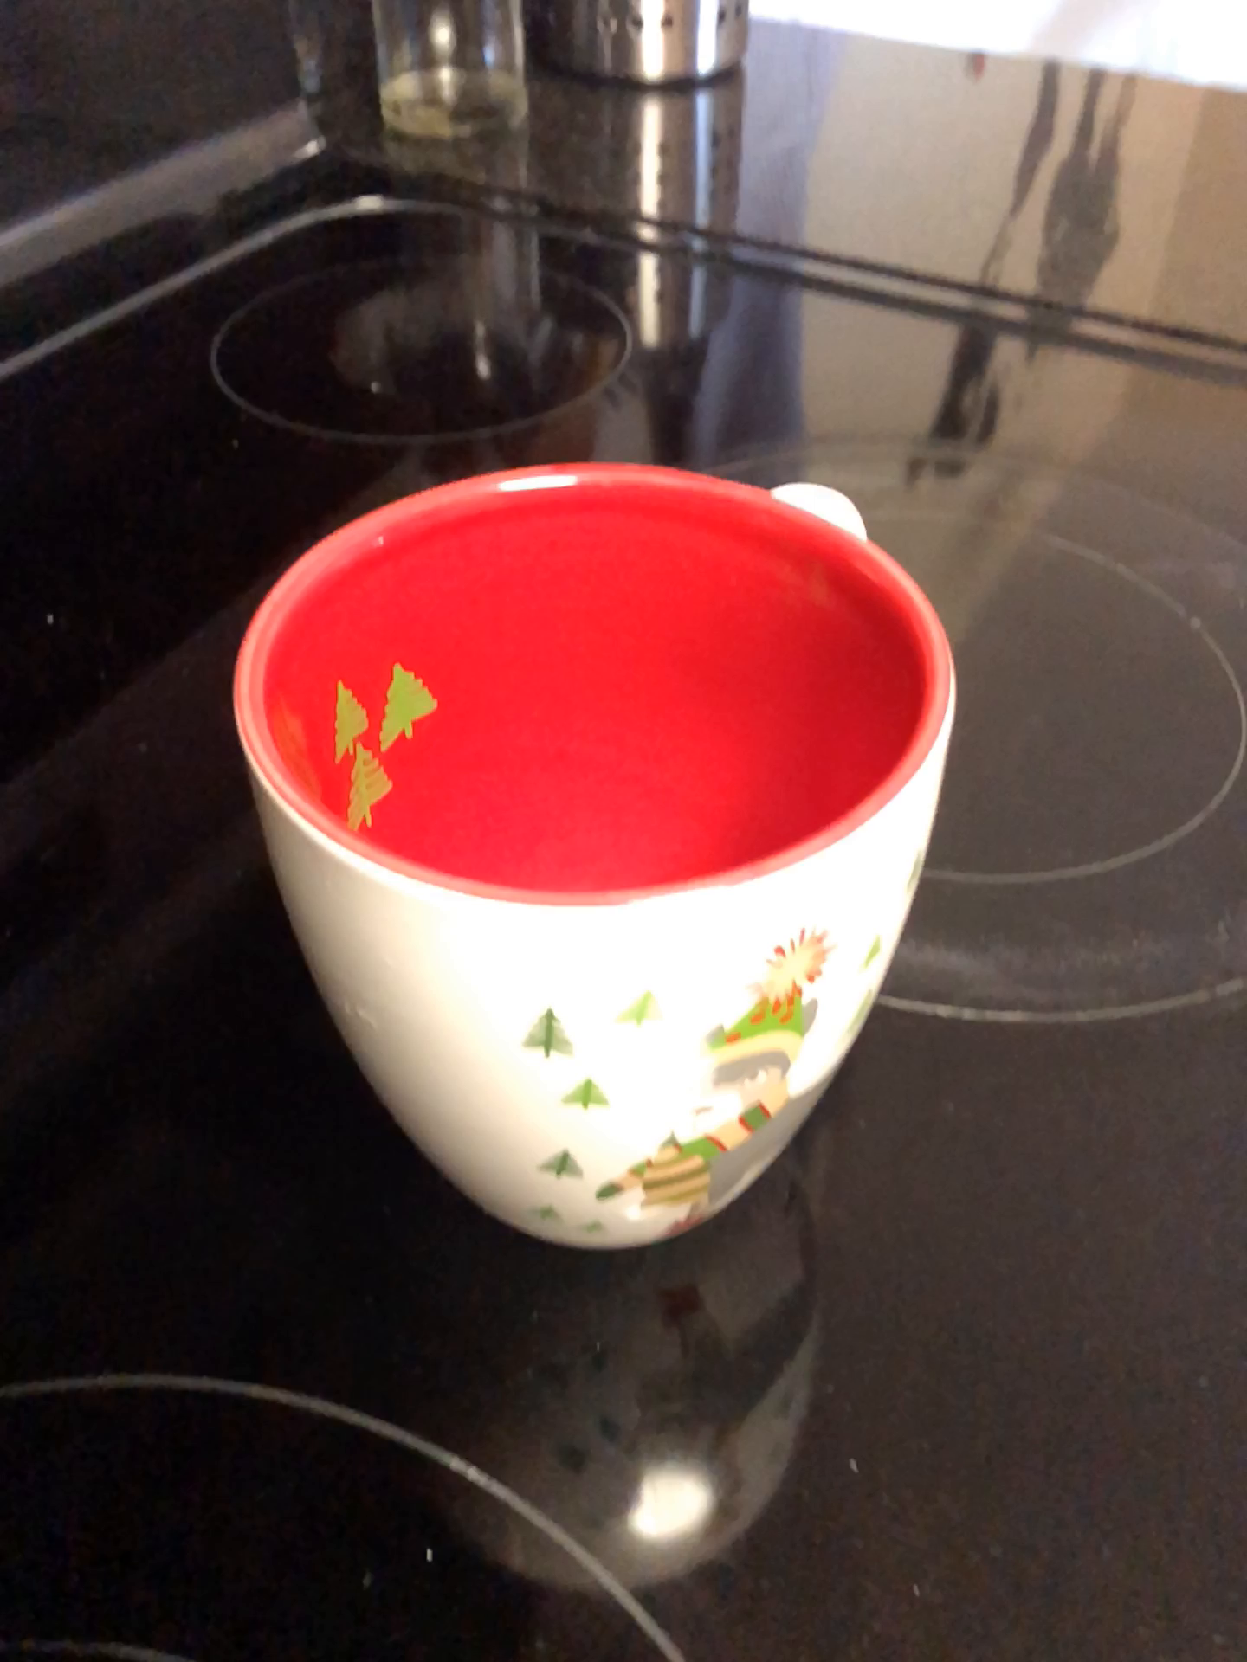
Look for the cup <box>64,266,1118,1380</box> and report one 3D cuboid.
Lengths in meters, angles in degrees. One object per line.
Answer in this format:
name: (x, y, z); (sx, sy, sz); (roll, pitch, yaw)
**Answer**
cup: (0.006, -0.013, 0.236); (0.100, 0.100, 0.140); (19, 46, 19)
